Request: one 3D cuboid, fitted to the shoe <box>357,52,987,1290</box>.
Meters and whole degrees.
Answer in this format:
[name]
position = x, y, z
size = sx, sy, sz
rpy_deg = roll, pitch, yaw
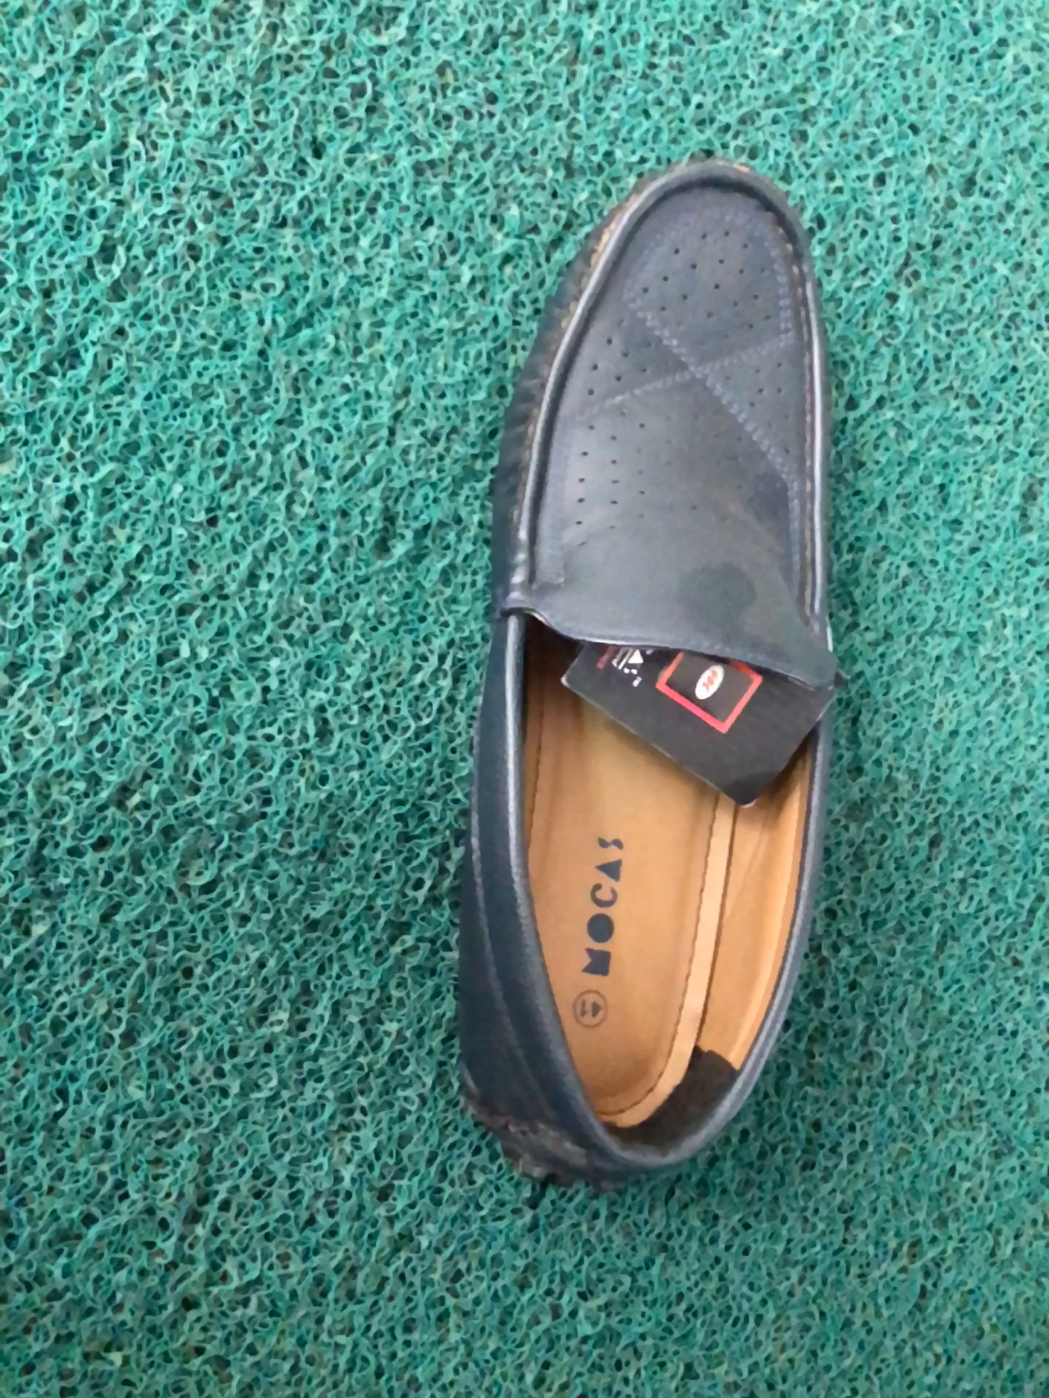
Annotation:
[shoe]
position = 0.039, -0.006, 0.310
size = 0.100, 0.070, 0.280
rpy_deg = 13, 83, -17
